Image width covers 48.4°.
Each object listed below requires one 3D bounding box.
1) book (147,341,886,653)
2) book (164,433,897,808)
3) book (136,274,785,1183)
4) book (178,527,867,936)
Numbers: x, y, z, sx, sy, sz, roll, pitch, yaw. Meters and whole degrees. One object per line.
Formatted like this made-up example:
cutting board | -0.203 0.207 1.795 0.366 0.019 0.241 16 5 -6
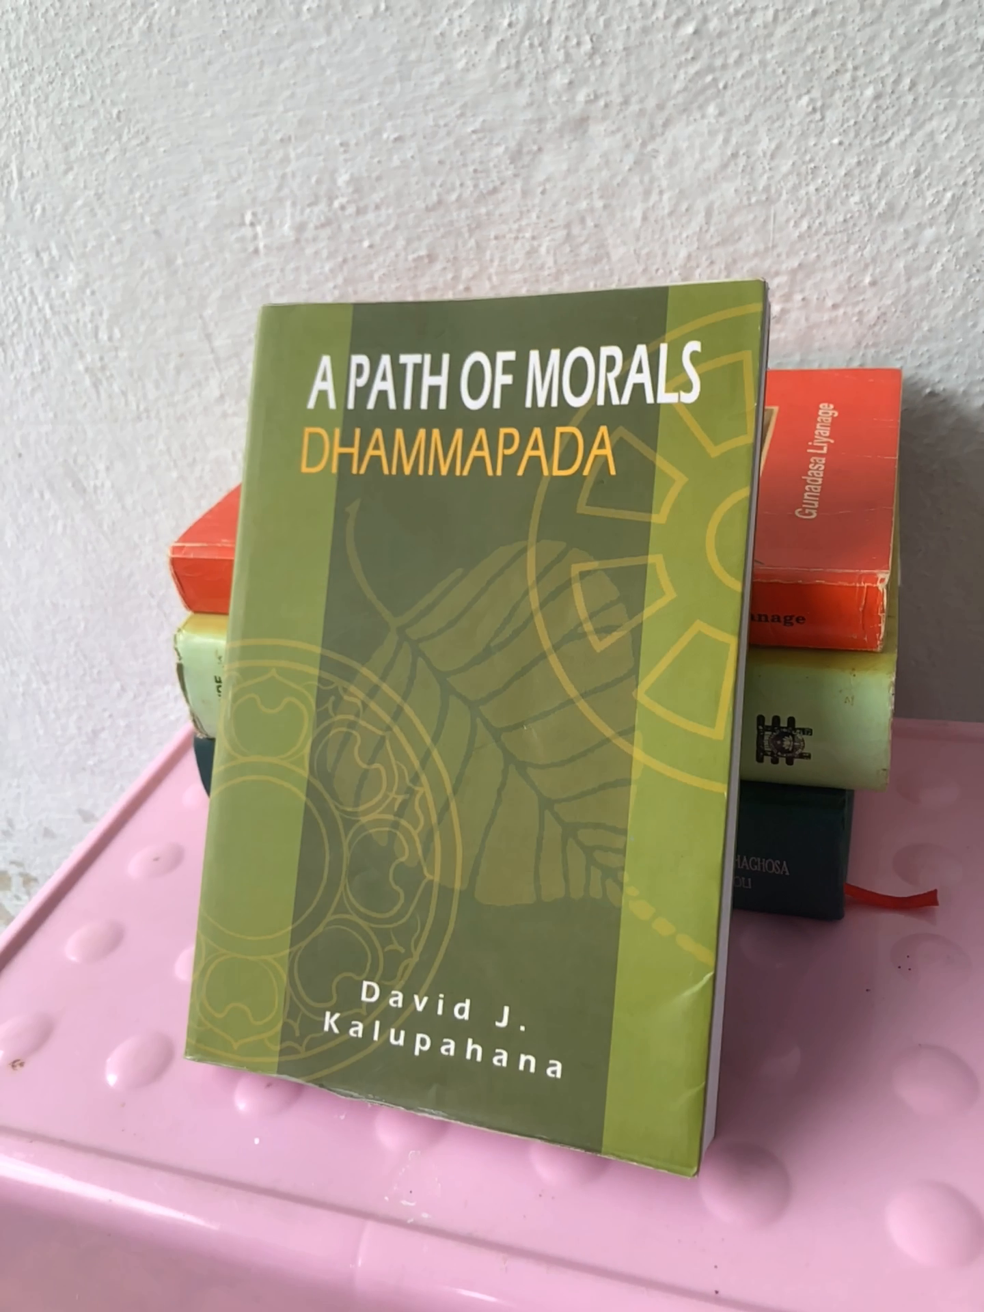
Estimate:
book | 0.019 -0.061 0.373 0.210 0.030 0.161 2 33 21
book | 0.025 -0.025 0.378 0.210 0.040 0.161 3 34 21
book | -0.008 0.010 0.297 0.150 0.210 0.040 4 -5 20
book | 0.022 0.012 0.408 0.210 0.050 0.161 3 34 22
